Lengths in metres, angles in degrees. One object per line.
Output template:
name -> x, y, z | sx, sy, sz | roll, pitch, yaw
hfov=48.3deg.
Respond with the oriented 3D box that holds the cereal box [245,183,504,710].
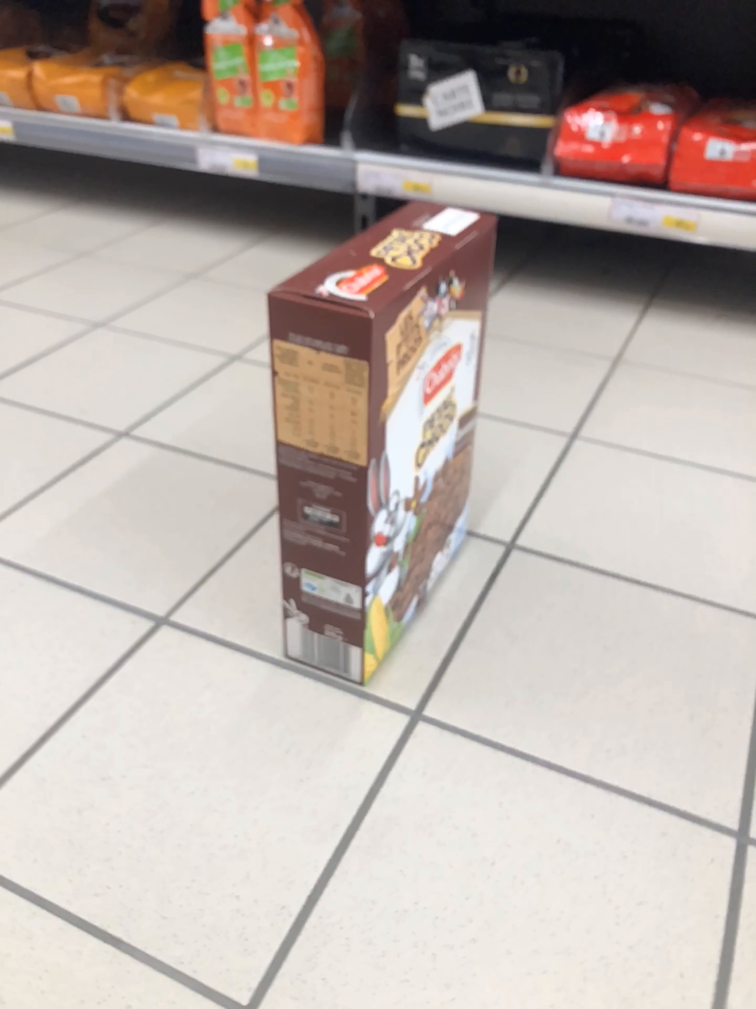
cereal box -> 0.006, -0.042, 0.558 | 0.070, 0.278, 0.201 | 15, 36, 20
